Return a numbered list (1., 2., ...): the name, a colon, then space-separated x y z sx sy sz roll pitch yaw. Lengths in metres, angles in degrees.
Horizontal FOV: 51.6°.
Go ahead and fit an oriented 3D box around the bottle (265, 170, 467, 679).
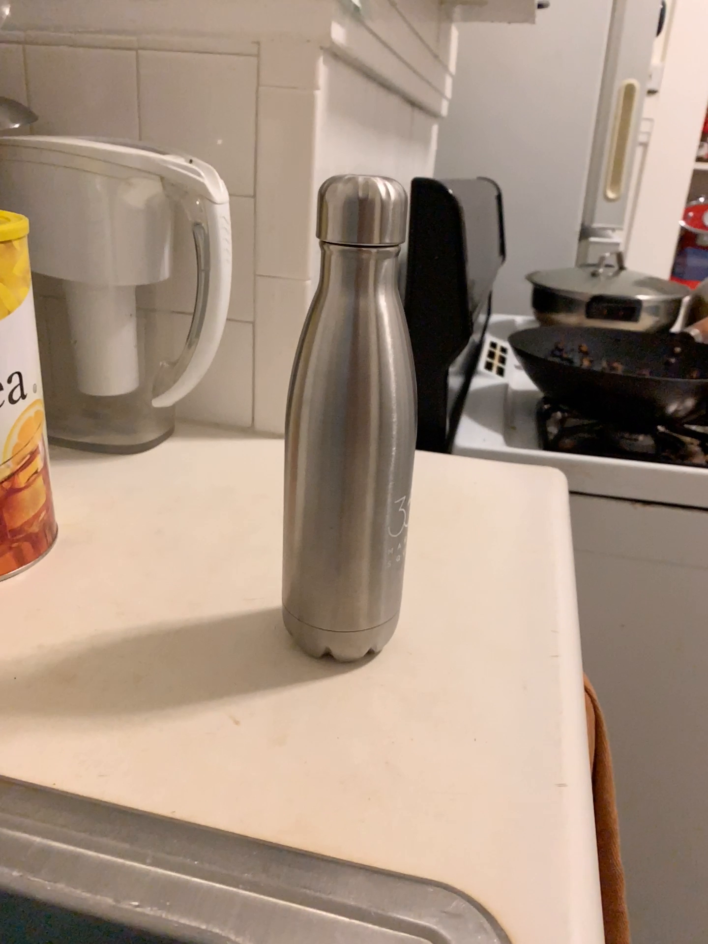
1. bottle: 0.002 -0.022 0.386 0.070 0.249 0.070 3 23 -1
